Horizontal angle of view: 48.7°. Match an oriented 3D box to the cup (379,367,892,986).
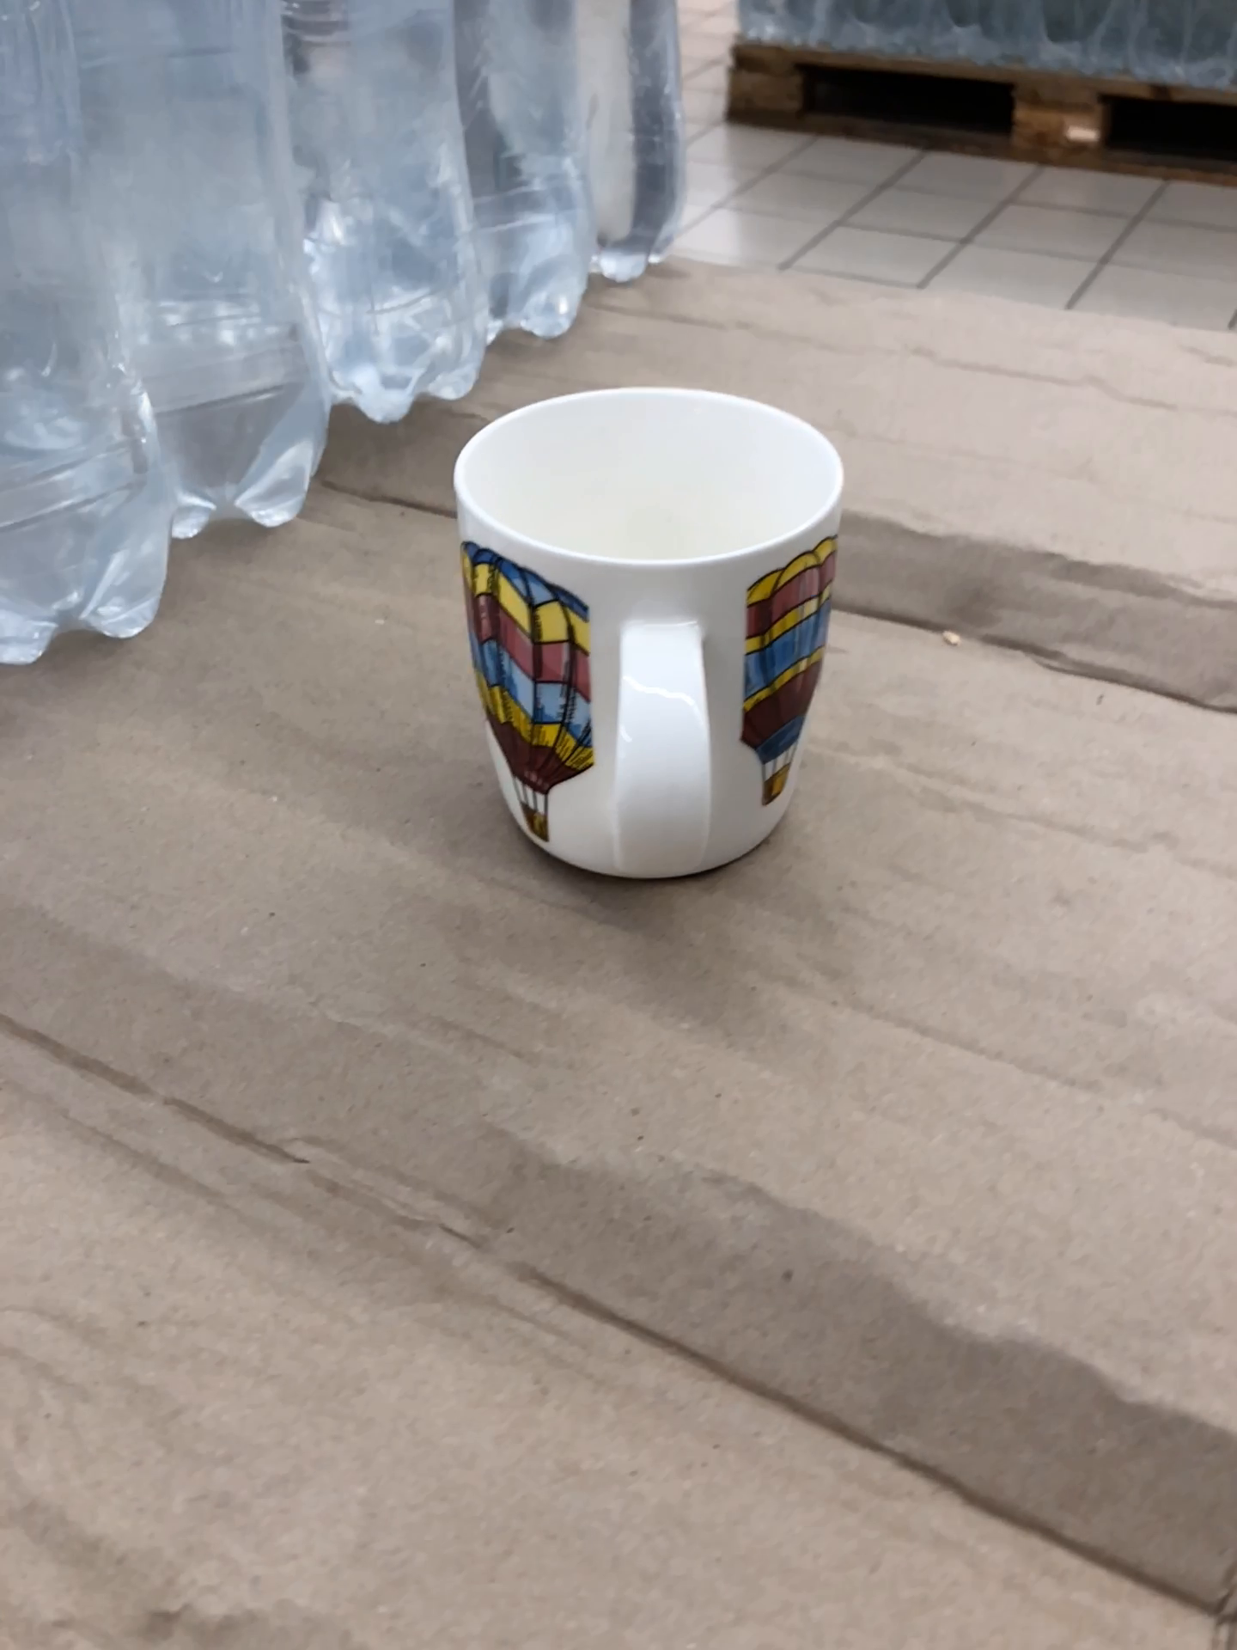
[{"bbox_3d":[0.005,-0.040,0.324,0.093,0.082,0.132,-2,41,2],"label":"cup"}]
